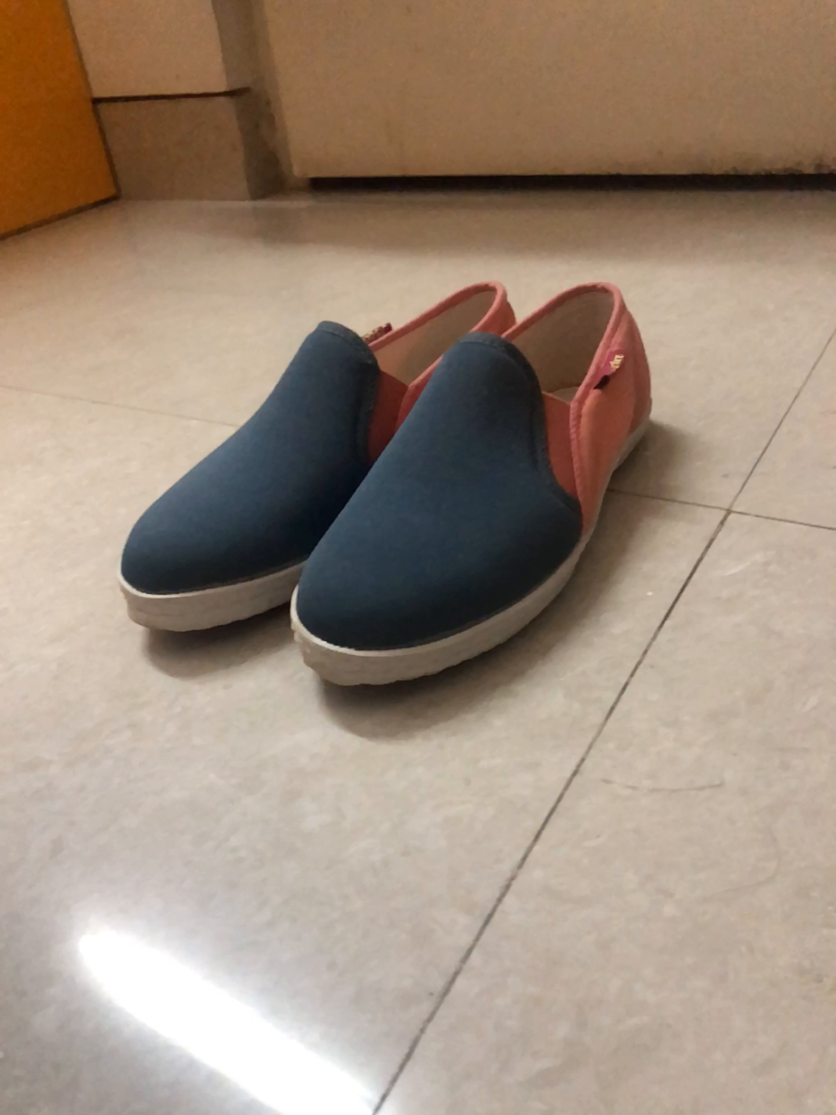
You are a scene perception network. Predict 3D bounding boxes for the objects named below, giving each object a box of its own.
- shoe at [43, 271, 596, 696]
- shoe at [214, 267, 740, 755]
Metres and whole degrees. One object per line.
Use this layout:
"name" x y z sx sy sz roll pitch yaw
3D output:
"shoe" -0.021 -0.048 0.371 0.090 0.060 0.221 16 40 33
"shoe" 0.040 -0.038 0.331 0.090 0.060 0.221 12 38 28
